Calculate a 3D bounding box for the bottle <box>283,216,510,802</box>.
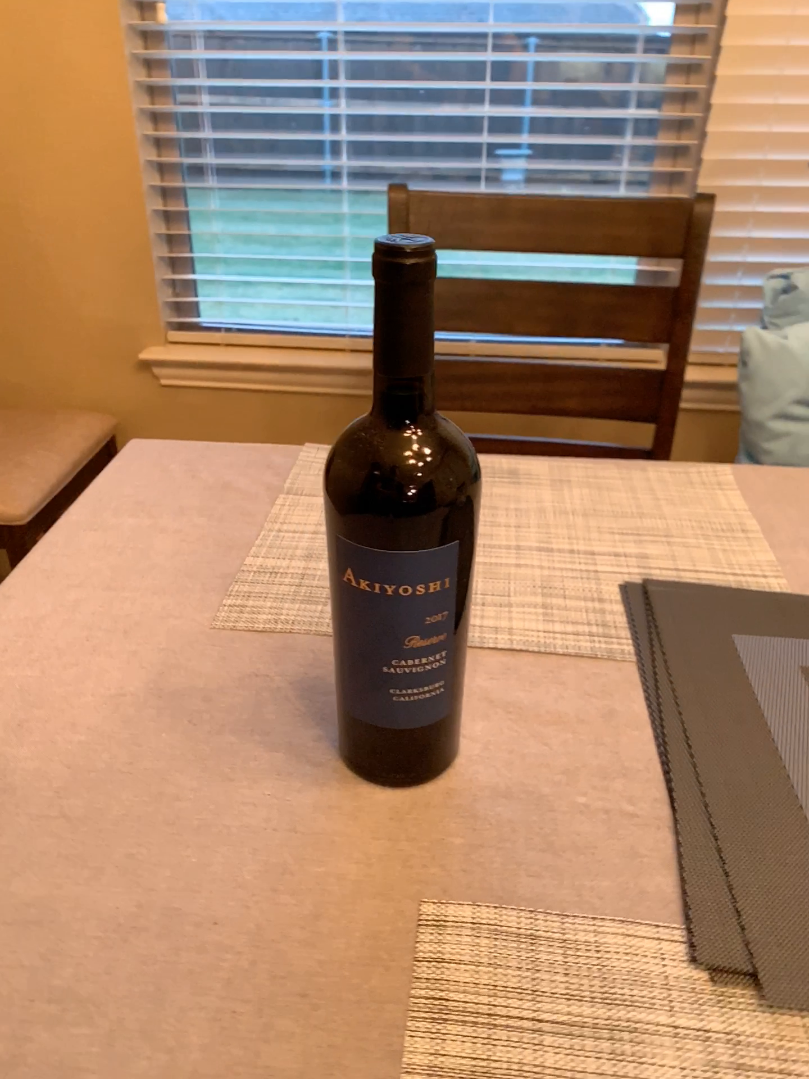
[{"bbox_3d":[-0.003,-0.005,0.441,0.090,0.298,0.090,1,29,0],"label":"bottle"}]
